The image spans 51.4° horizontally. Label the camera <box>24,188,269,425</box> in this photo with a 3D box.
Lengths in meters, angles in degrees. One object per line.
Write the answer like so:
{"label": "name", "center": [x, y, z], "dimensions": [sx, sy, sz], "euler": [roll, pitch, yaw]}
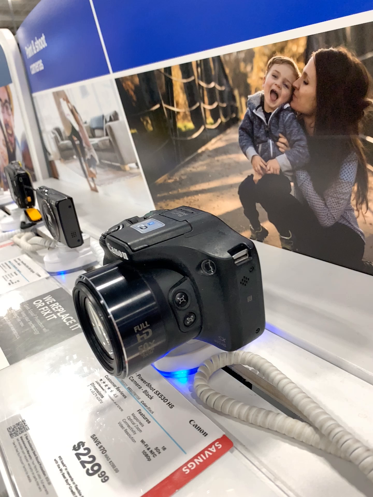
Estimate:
{"label": "camera", "center": [-0.027, 0.019, 0.242], "dimensions": [0.090, 0.080, 0.124], "euler": [-22, 27, -33]}
